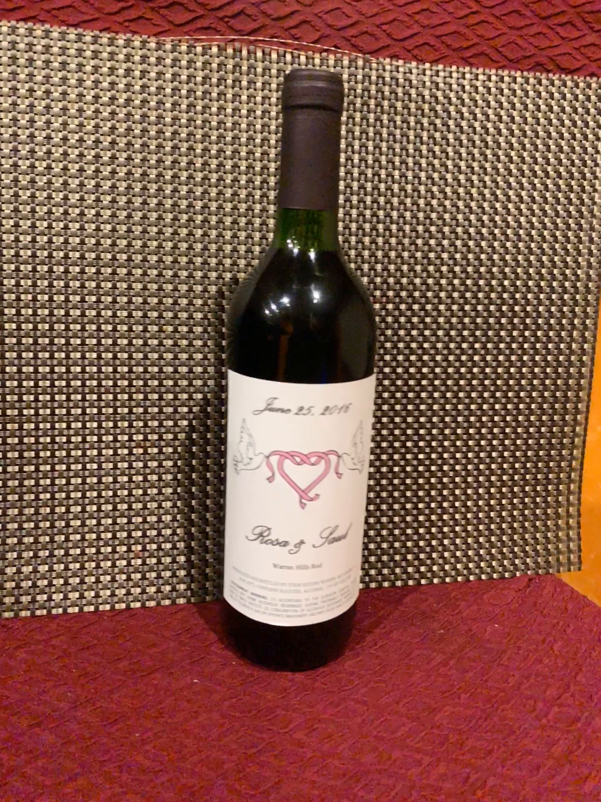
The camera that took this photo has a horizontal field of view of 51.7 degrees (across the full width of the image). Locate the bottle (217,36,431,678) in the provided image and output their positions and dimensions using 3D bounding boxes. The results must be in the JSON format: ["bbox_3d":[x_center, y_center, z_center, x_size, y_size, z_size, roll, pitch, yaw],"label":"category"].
[{"bbox_3d":[0.001,-0.008,0.308,0.080,0.289,0.060,1,16,-8],"label":"bottle"}]
